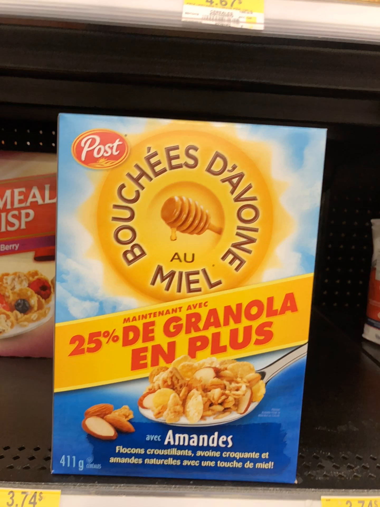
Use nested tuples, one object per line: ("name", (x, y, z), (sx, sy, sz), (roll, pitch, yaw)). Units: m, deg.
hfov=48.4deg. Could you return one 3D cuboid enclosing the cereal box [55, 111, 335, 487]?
("cereal box", (-0.001, 0.036, 0.340), (0.190, 0.269, 0.060), (3, 6, 0))
